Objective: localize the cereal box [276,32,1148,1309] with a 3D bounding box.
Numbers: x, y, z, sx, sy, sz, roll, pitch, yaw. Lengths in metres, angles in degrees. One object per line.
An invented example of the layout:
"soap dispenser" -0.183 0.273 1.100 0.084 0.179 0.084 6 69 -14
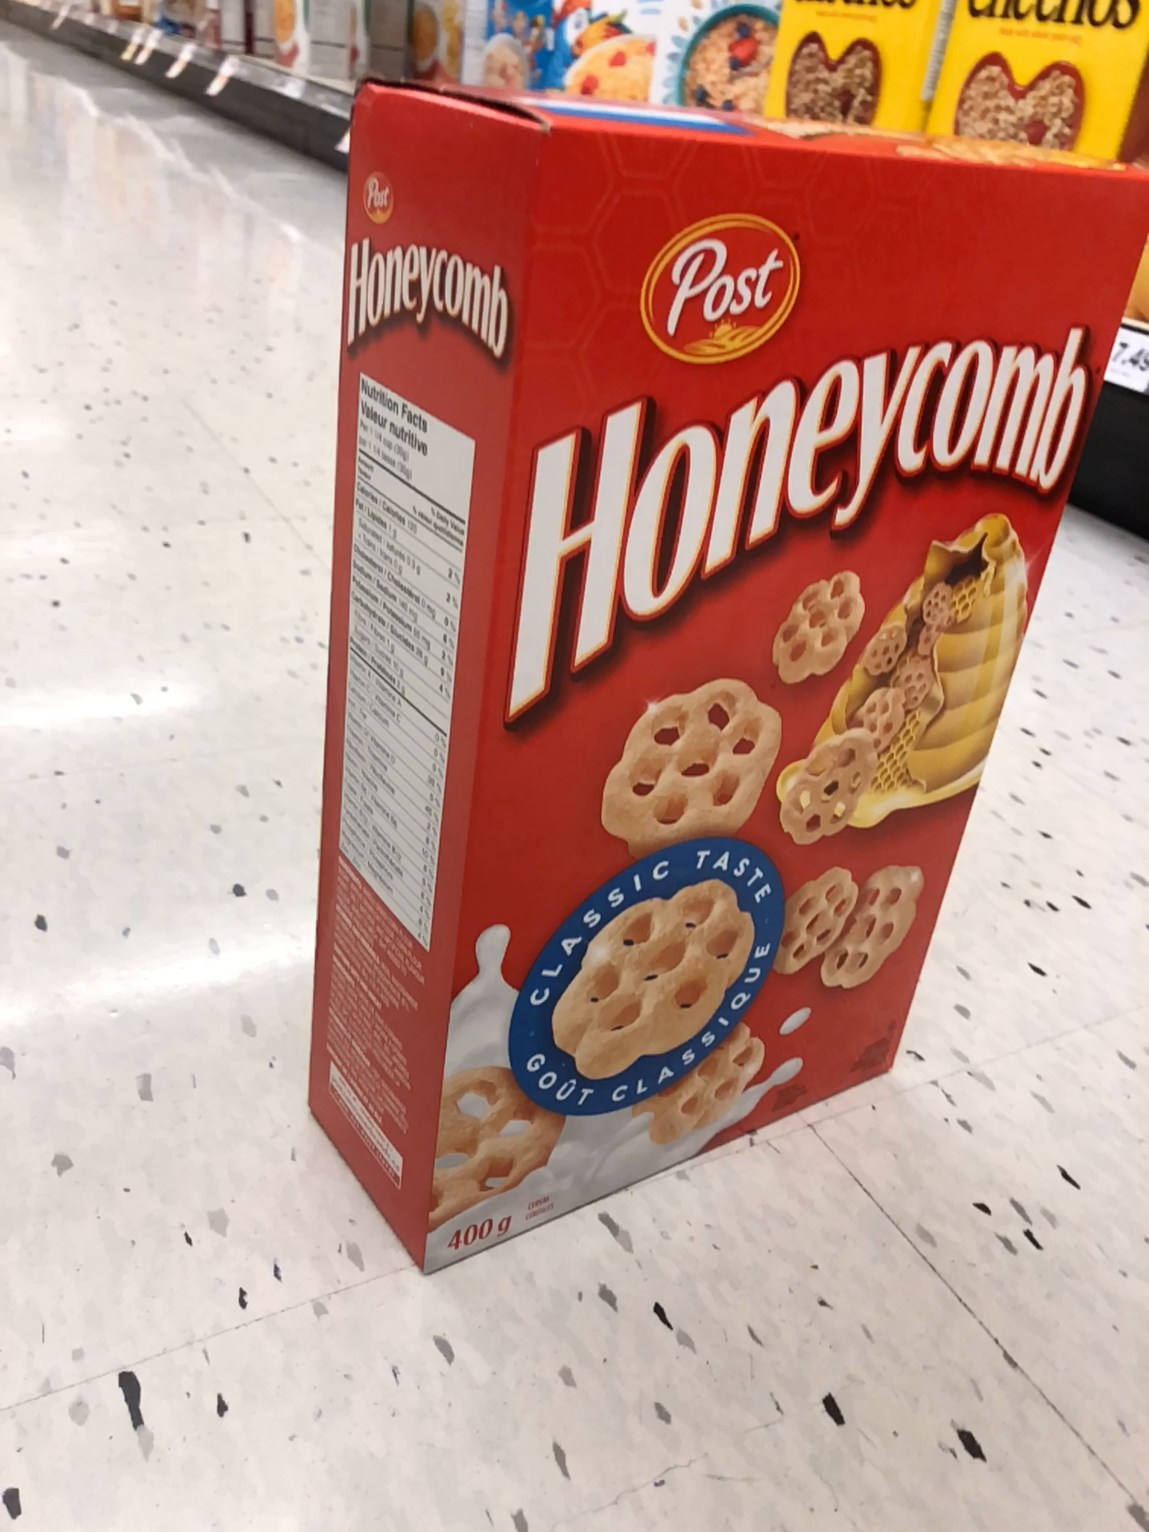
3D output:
"cereal box" 0.035 -0.021 0.362 0.211 0.298 0.090 -12 35 -32
